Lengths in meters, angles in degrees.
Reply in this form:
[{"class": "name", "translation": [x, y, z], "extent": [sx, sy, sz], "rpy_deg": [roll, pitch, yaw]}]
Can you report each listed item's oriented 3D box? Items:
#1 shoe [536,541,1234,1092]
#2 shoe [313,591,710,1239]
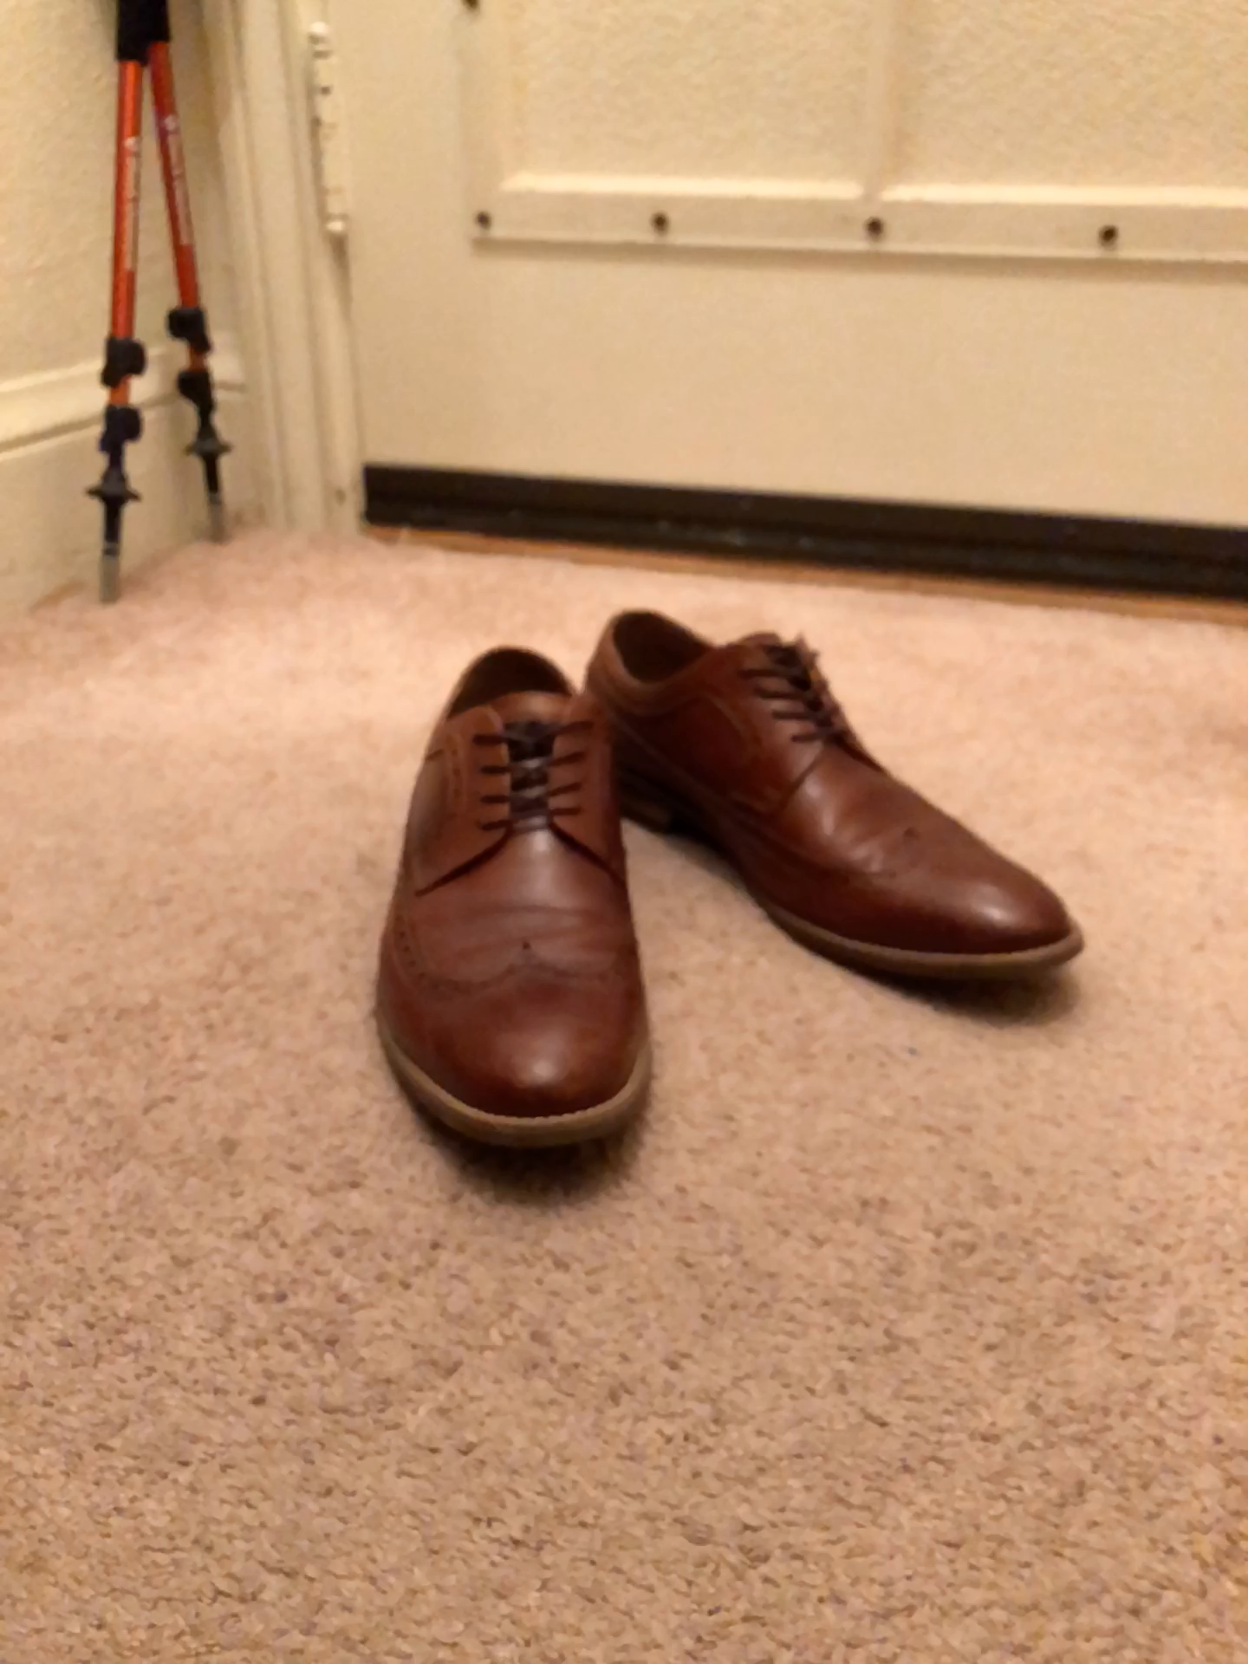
[{"class": "shoe", "translation": [0.091, -0.030, 0.629], "extent": [0.115, 0.114, 0.311], "rpy_deg": [-17, 32, -30]}, {"class": "shoe", "translation": [-0.047, 0.007, 0.569], "extent": [0.115, 0.114, 0.312], "rpy_deg": [-2, 28, -5]}]
